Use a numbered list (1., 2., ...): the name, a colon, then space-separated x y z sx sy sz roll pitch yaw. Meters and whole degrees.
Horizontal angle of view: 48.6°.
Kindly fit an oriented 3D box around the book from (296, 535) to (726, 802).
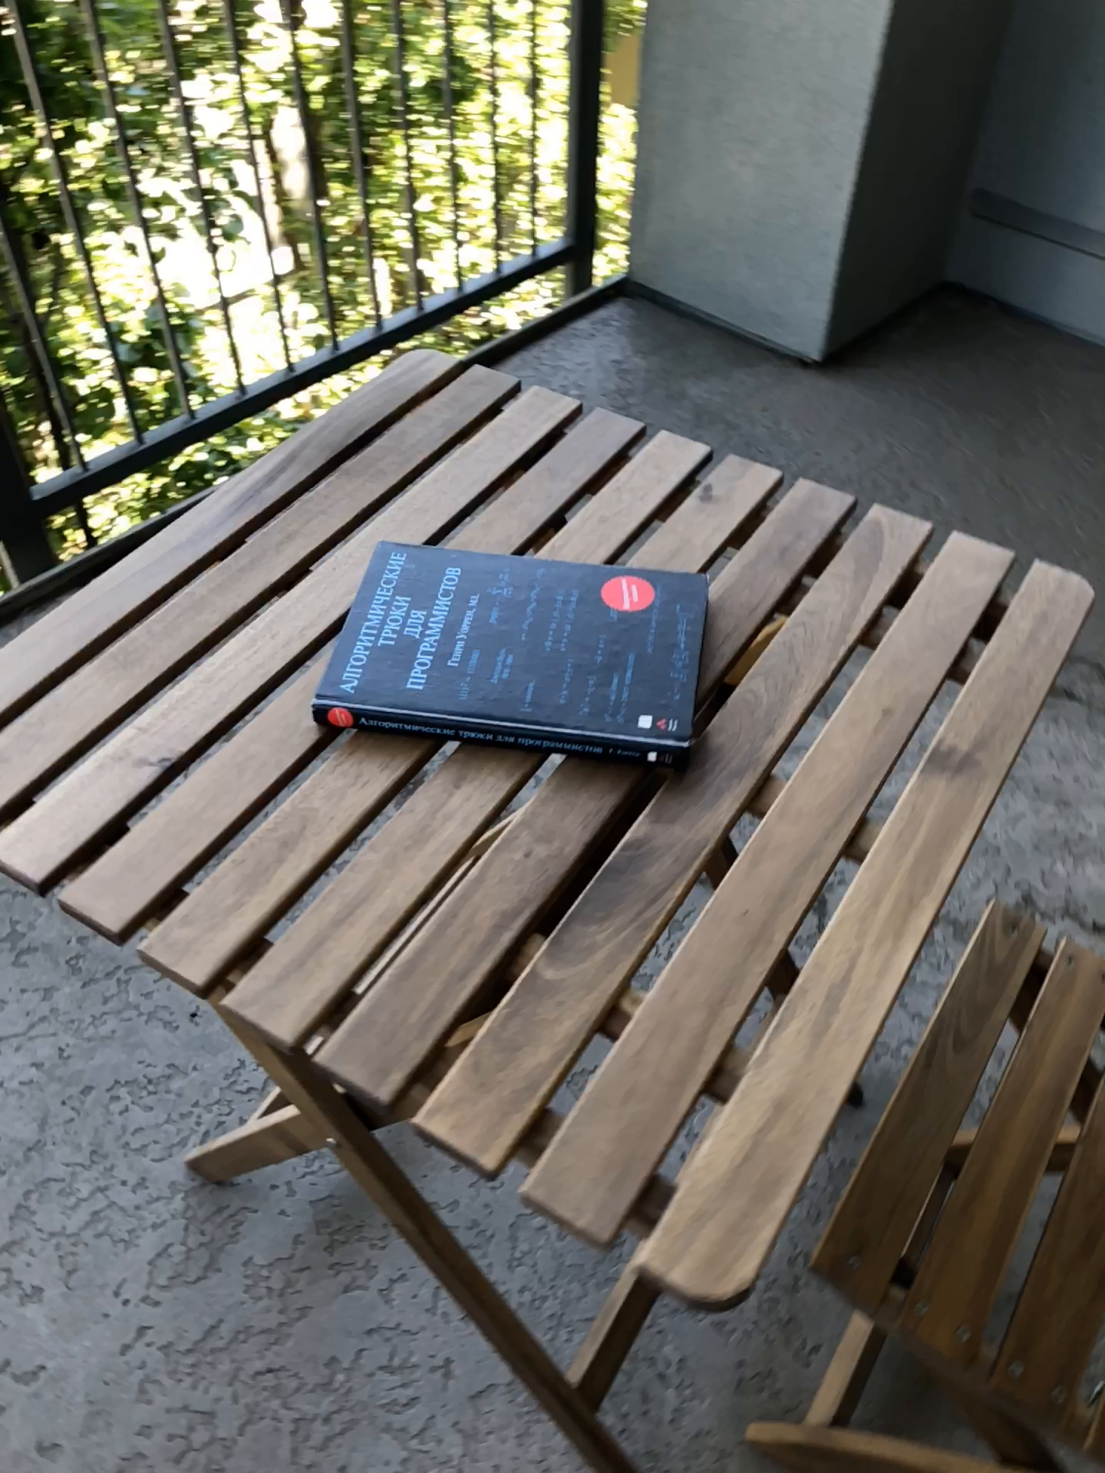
1. book: -0.019 -0.051 0.802 0.250 0.030 0.181 7 48 5
